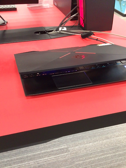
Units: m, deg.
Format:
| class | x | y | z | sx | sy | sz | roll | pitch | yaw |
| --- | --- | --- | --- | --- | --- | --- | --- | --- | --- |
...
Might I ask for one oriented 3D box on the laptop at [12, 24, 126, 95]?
| class | x | y | z | sx | sy | sz | roll | pitch | yaw |
| --- | --- | --- | --- | --- | --- | --- | --- | --- | --- |
| laptop | 0.046 | -0.095 | 0.546 | 0.371 | 0.092 | 0.221 | -11 | 44 | -8 |
